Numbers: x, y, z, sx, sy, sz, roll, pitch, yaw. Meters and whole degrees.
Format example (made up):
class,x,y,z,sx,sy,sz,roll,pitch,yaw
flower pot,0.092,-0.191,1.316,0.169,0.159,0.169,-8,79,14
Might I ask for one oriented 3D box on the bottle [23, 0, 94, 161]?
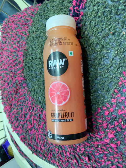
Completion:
class,x,y,z,sx,sy,sz,roll,pitch,yaw
bottle,-0.001,-0.012,0.157,0.060,0.060,0.160,-3,83,25
